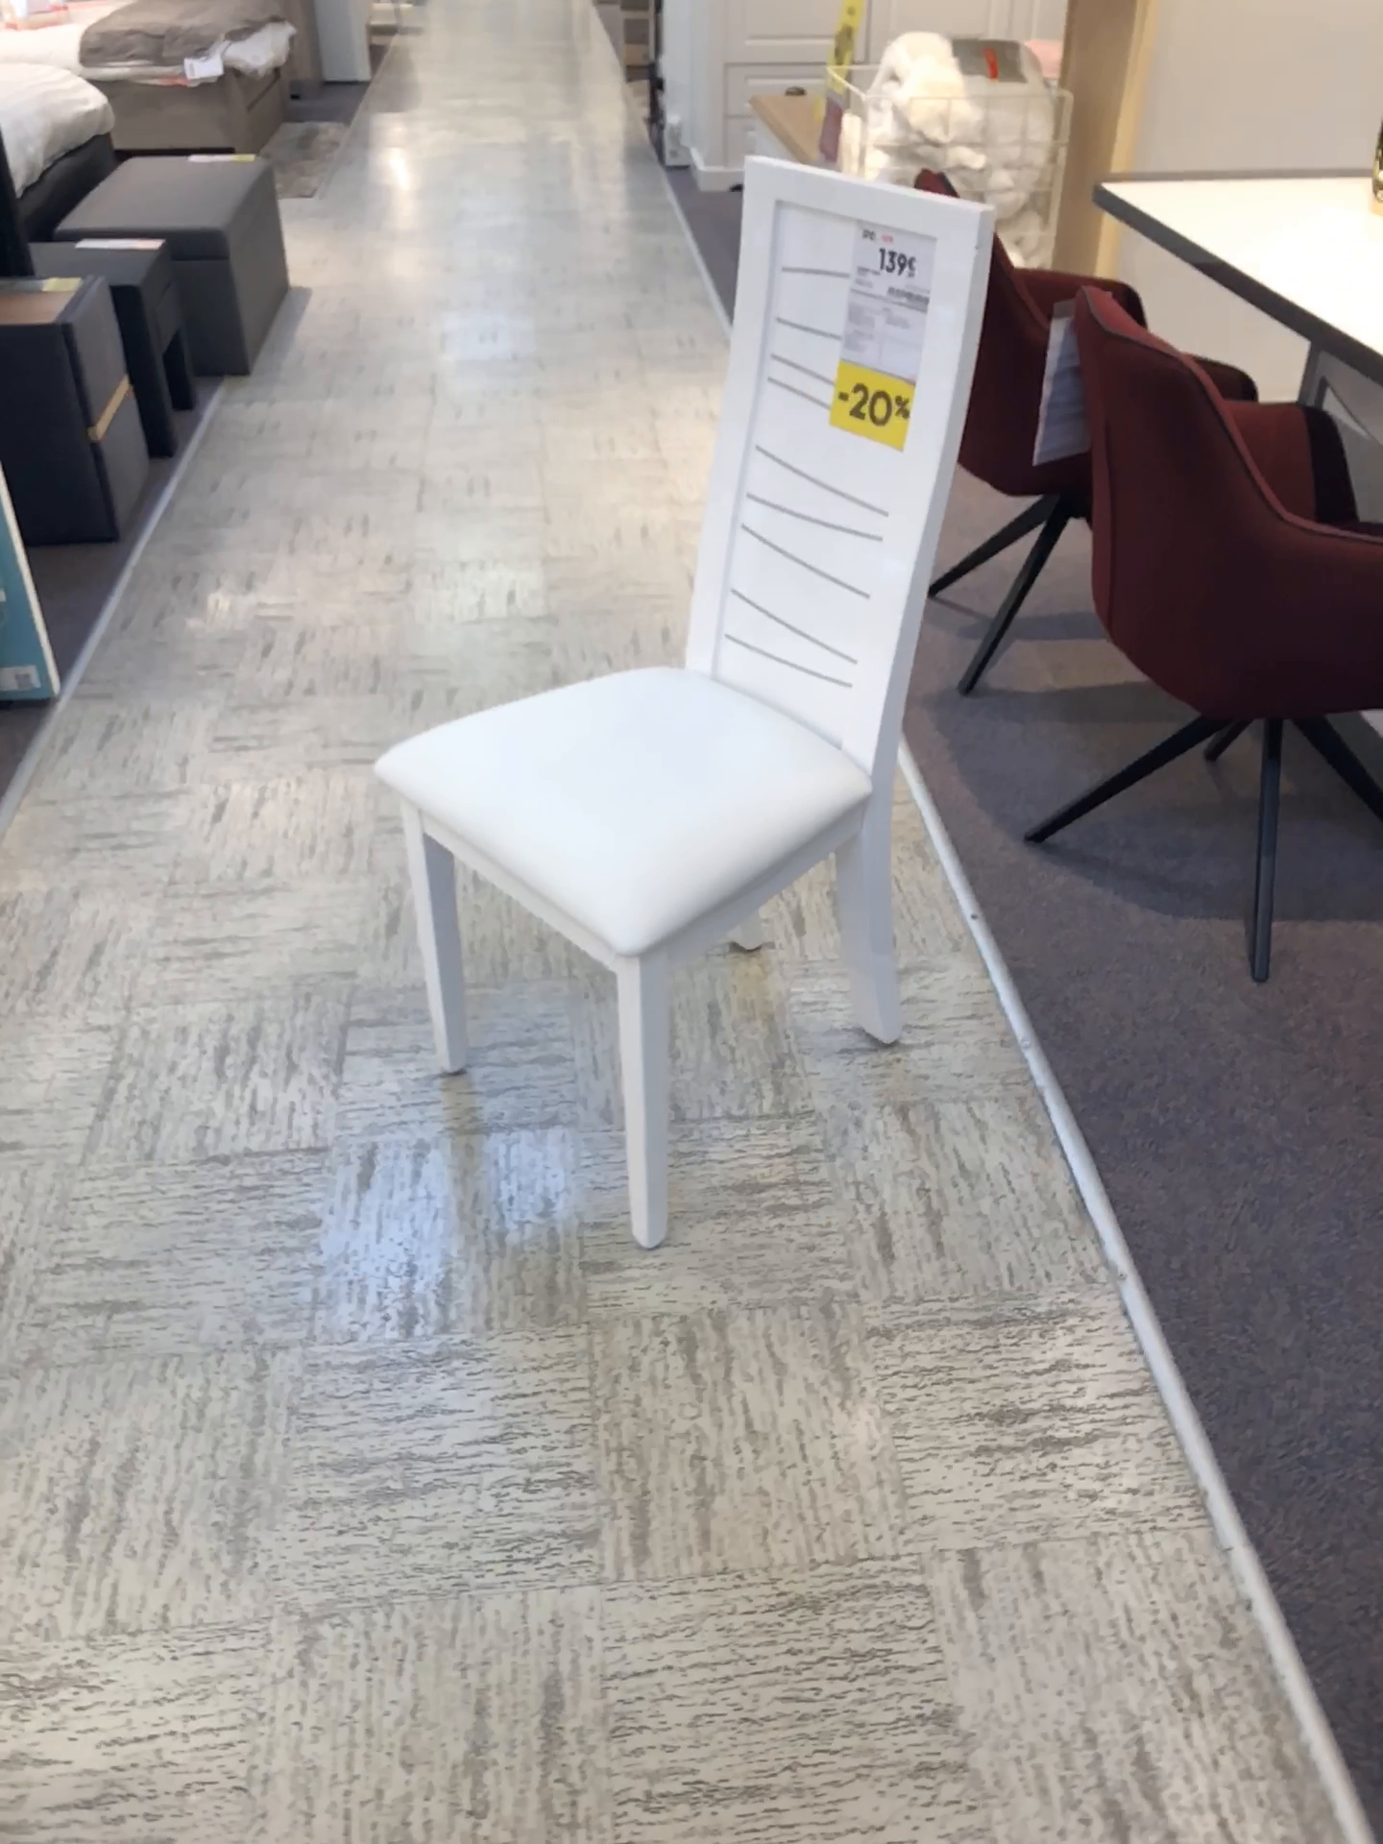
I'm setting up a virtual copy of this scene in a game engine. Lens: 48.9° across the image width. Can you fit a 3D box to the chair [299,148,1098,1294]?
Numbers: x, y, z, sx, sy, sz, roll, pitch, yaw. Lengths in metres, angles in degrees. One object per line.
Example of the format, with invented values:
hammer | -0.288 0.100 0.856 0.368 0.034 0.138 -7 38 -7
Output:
chair | 0.006 -0.212 1.630 0.543 1.004 0.451 -27 44 -33
